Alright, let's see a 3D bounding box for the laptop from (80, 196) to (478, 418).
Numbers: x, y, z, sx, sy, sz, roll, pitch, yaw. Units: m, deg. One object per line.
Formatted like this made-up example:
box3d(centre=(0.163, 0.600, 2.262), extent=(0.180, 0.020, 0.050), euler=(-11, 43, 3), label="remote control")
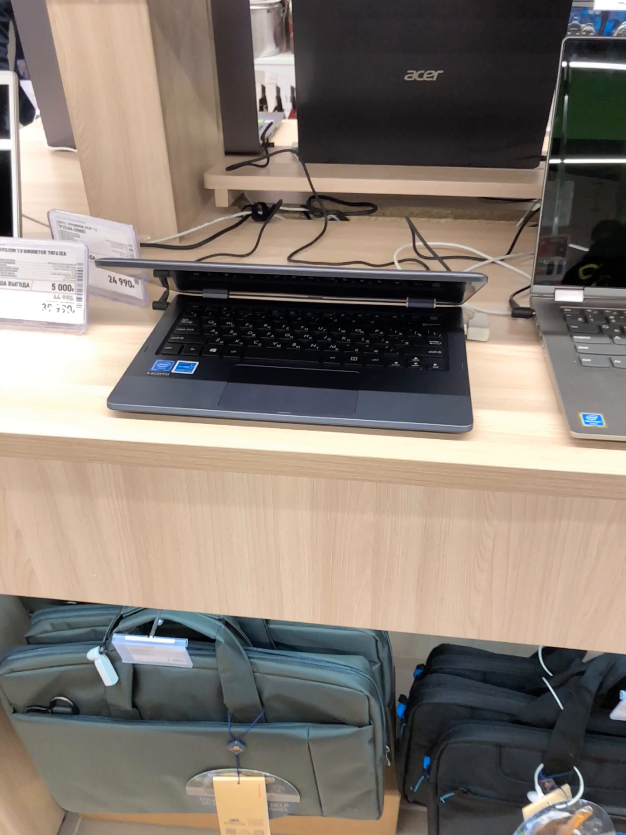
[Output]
box3d(centre=(-0.014, -0.101, 0.566), extent=(0.271, 0.097, 0.186), euler=(4, 35, 7), label="laptop")
